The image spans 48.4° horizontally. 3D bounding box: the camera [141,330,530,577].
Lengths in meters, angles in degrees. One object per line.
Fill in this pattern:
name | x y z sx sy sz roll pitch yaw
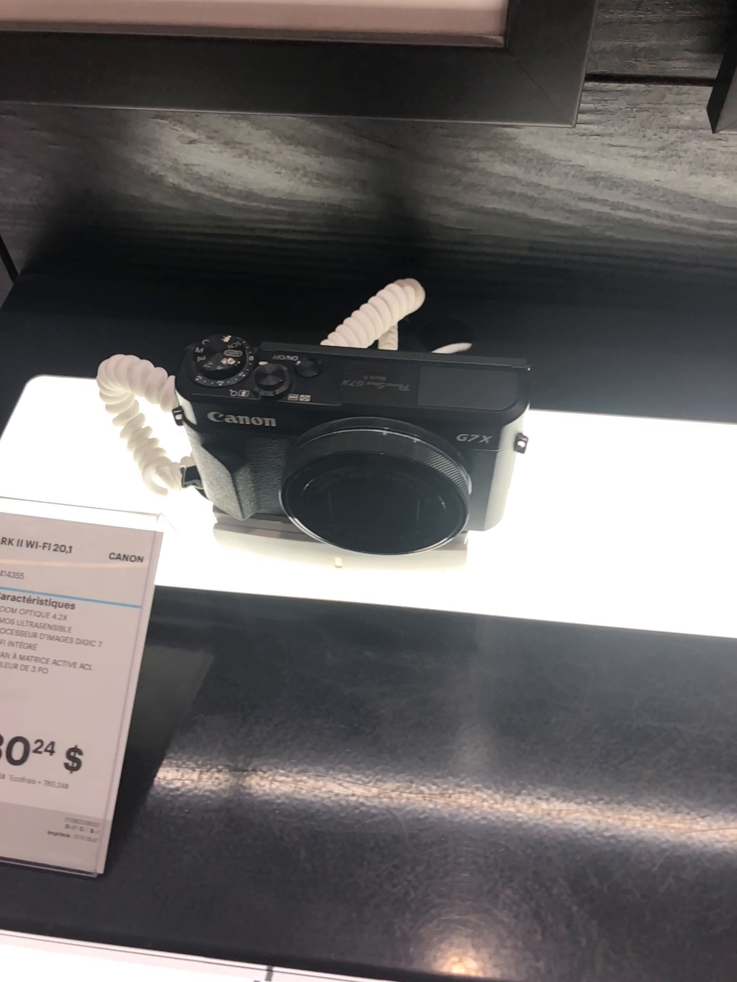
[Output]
camera | -0.007 -0.010 0.242 0.100 0.056 0.038 5 53 5
